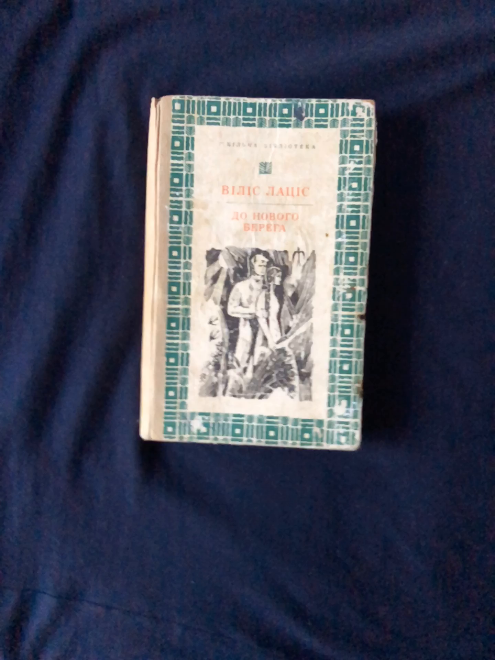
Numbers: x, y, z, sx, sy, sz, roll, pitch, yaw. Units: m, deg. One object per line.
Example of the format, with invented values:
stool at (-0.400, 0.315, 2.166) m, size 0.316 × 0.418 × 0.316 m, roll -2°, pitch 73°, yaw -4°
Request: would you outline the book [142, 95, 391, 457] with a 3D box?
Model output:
book at (0.011, -0.032, 0.331) m, size 0.134 × 0.040 × 0.201 m, roll 2°, pitch 90°, yaw 4°
